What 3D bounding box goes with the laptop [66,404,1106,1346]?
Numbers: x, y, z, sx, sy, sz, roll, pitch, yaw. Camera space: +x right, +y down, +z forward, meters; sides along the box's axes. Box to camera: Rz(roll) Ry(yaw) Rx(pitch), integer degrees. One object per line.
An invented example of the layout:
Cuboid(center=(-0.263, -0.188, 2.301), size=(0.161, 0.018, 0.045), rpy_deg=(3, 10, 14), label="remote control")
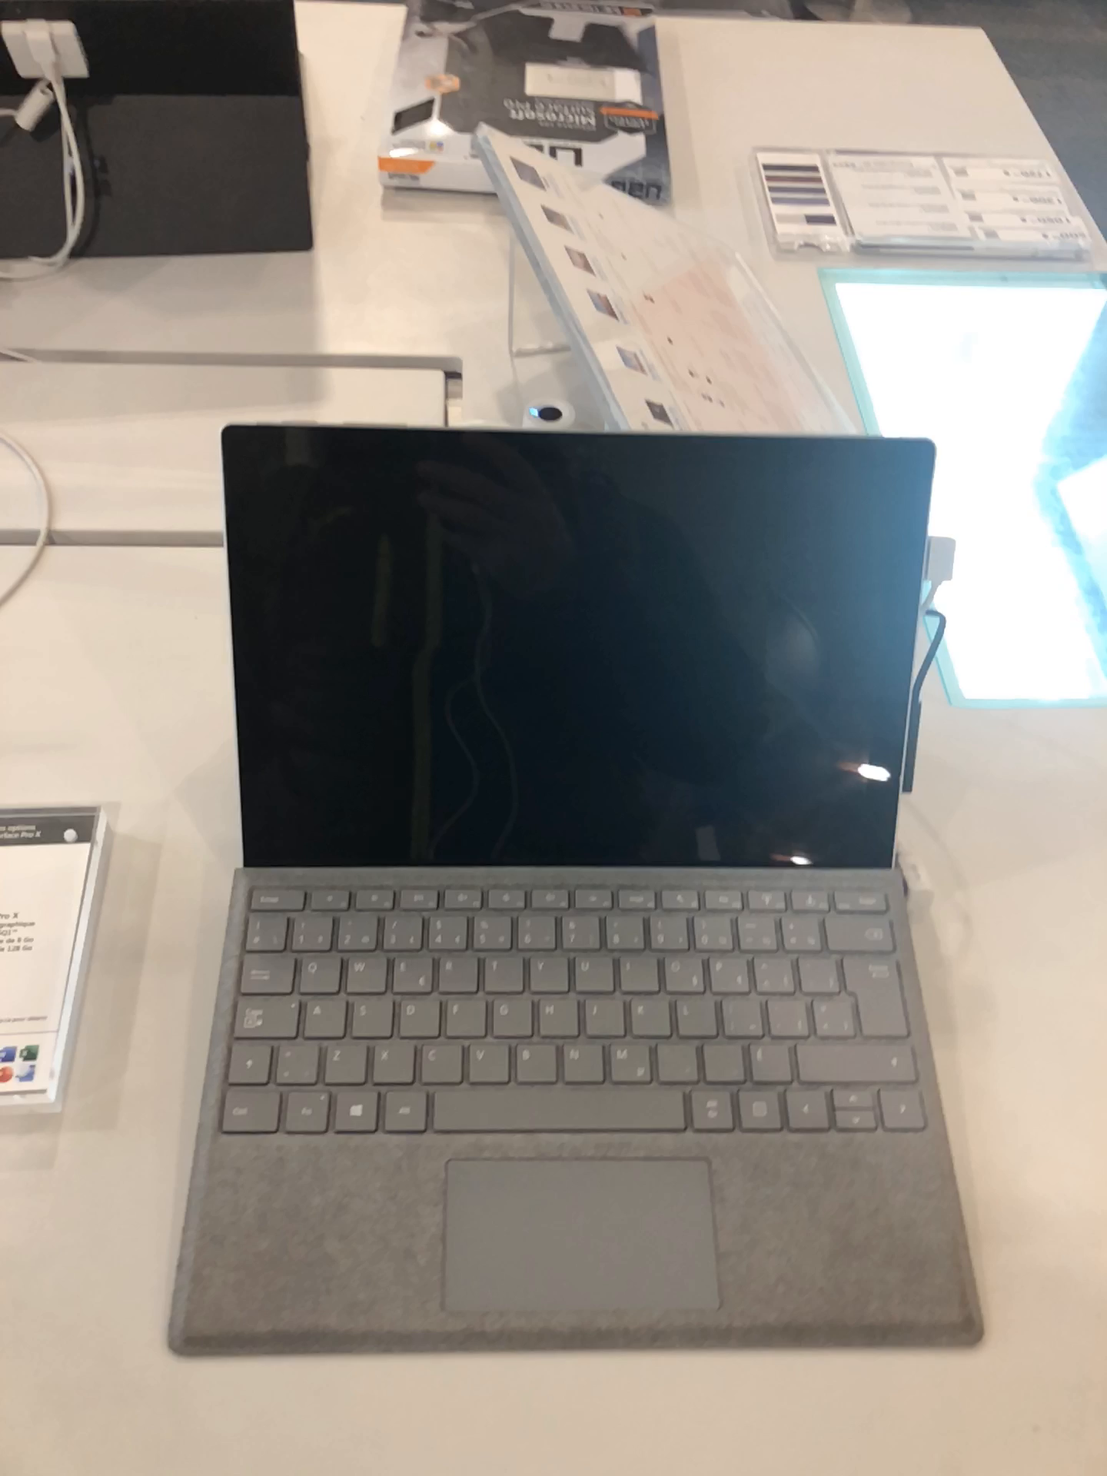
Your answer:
Cuboid(center=(0.012, 0.041, 0.453), size=(0.278, 0.147, 0.298), rpy_deg=(1, 56, -3), label="laptop")
